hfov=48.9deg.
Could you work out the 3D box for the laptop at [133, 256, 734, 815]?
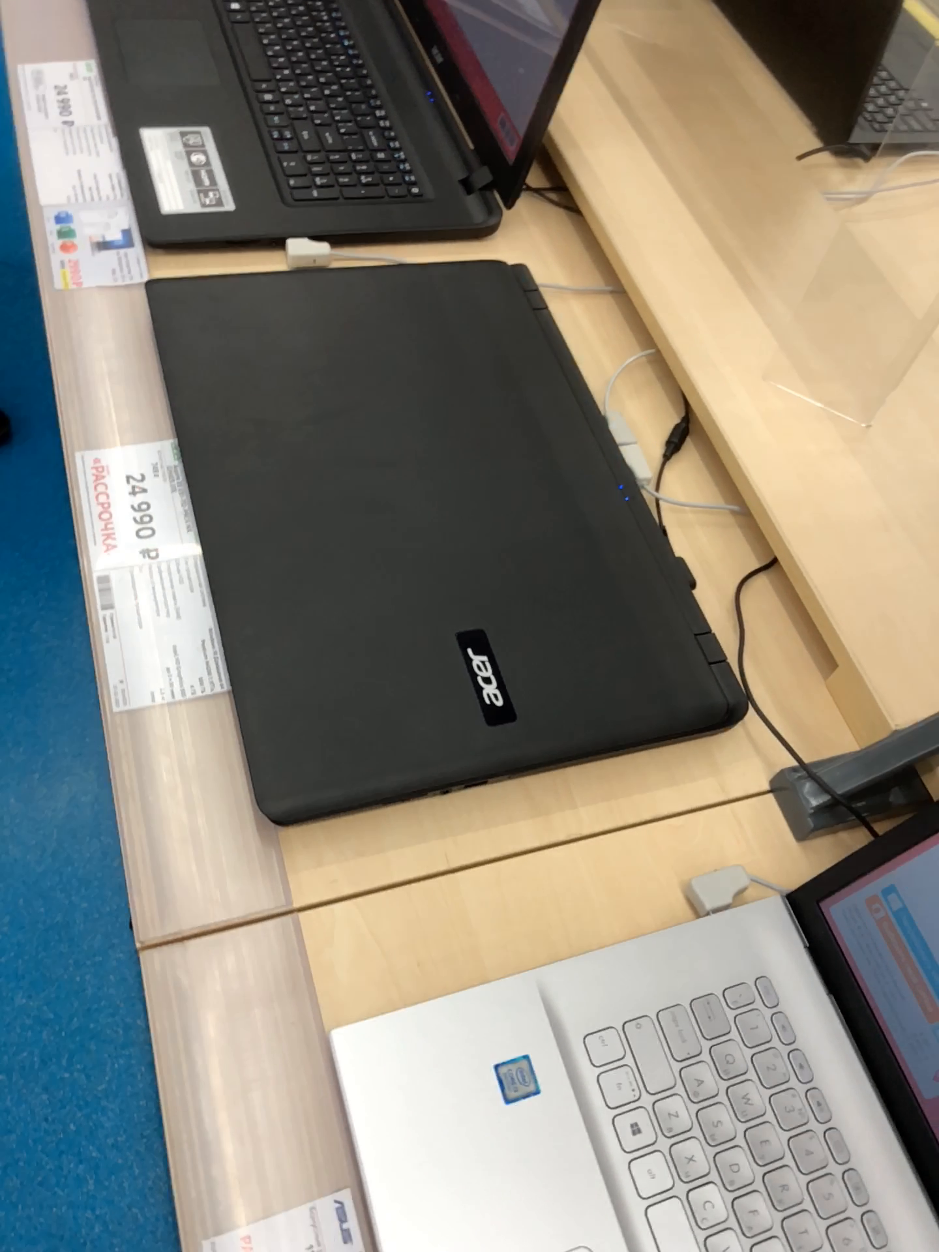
[{"bbox_3d":[-0.040,-0.096,0.672,0.278,0.005,0.411,-11,60,-18],"label":"laptop"}]
